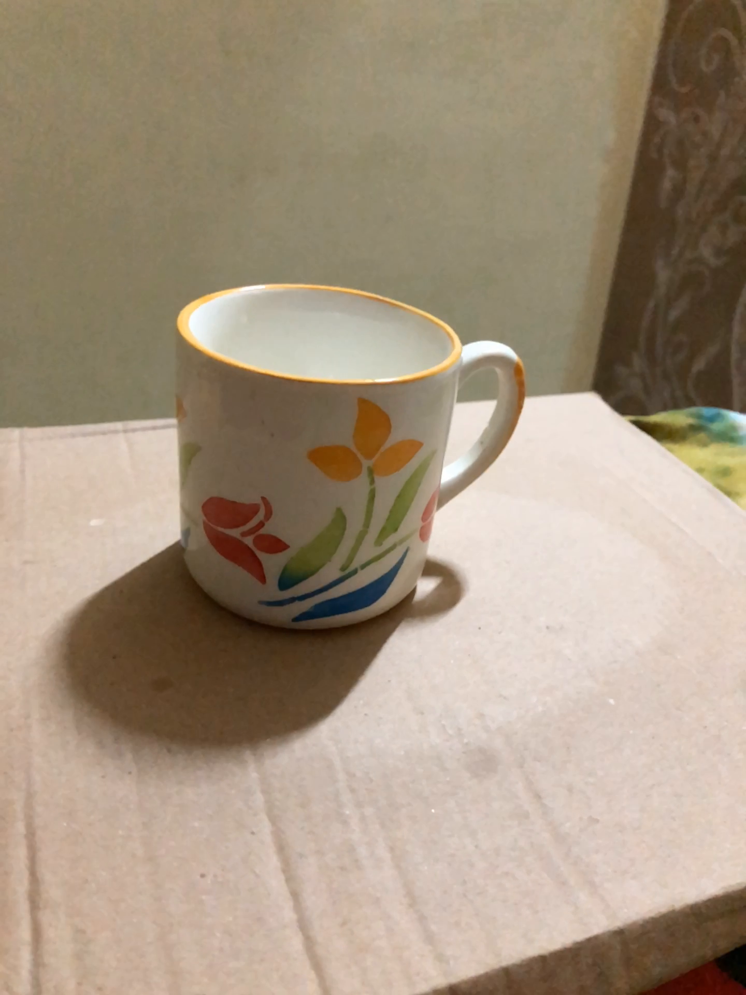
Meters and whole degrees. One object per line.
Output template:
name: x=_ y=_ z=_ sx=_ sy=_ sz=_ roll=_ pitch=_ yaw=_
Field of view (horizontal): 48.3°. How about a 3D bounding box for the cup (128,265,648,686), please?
cup: x=-0.001 y=-0.018 z=0.256 sx=0.120 sy=0.079 sz=0.090 roll=-11 pitch=32 yaw=-26
